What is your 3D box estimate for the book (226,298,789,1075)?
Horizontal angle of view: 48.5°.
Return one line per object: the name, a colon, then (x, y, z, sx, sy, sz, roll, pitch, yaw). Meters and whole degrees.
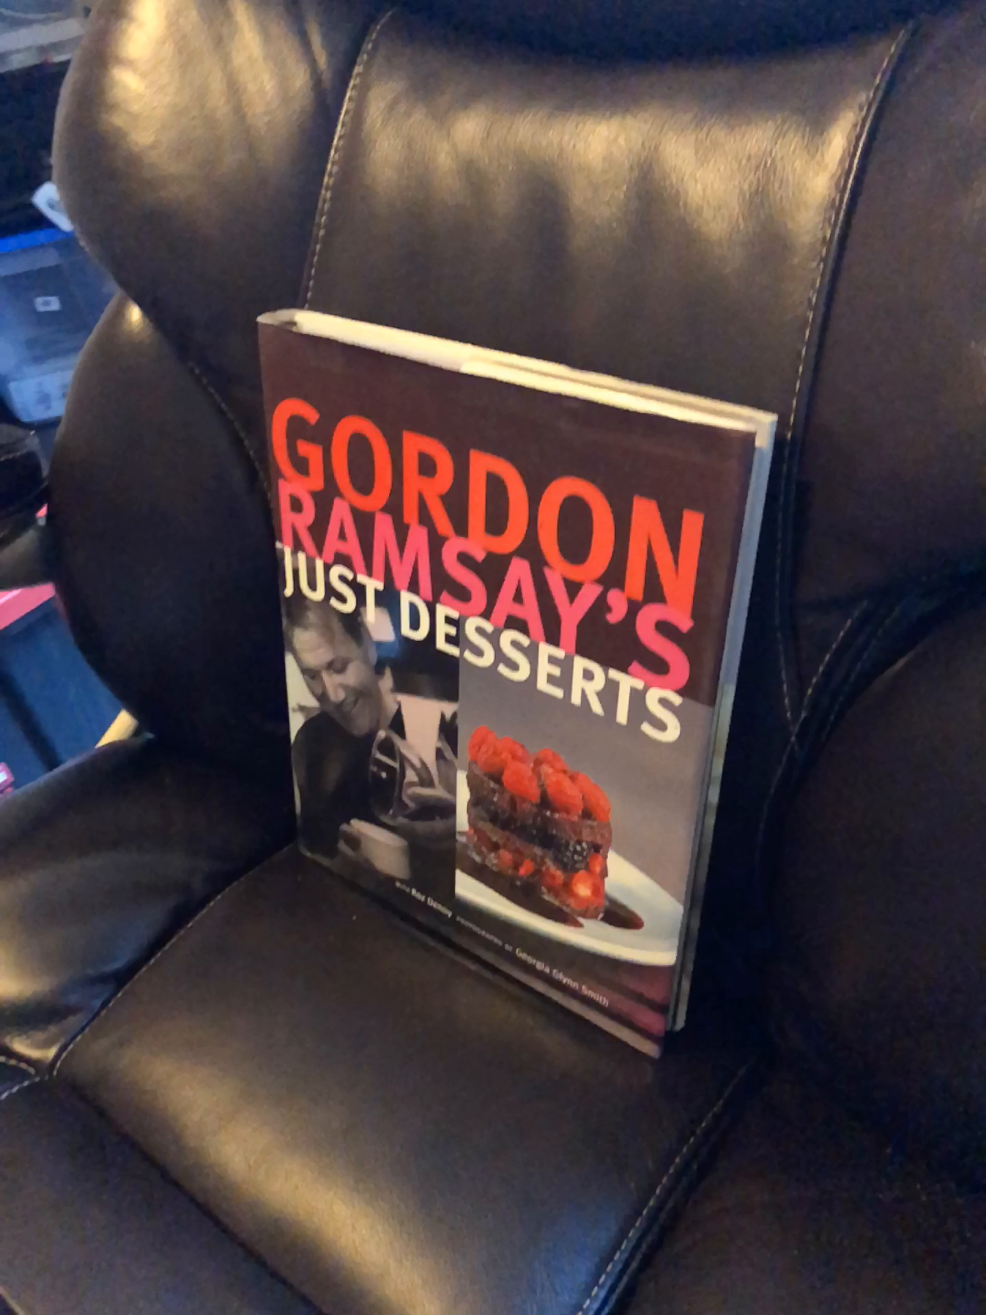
book: (-0.005, 0.015, 0.469, 0.231, 0.293, 0.030, 22, 39, 32)
